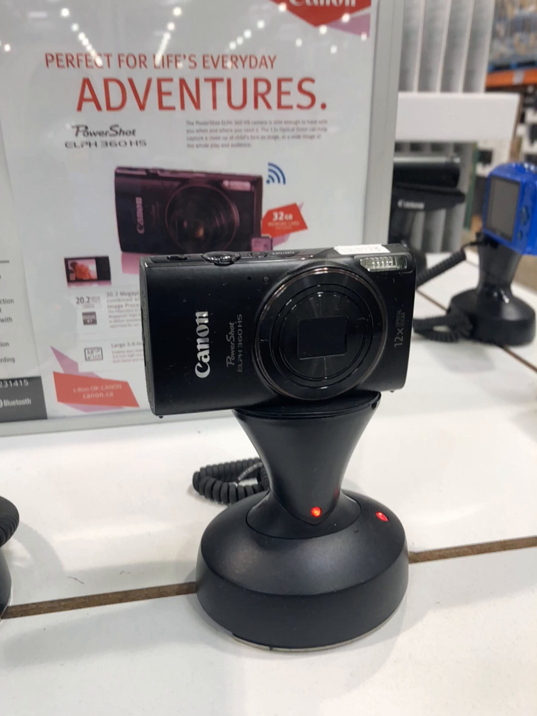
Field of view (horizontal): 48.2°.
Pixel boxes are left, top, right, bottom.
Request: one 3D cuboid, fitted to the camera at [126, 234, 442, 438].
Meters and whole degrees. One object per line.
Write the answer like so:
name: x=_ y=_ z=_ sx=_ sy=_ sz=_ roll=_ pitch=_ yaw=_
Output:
camera: x=0.004 y=-0.012 z=0.233 sx=0.110 sy=0.060 sz=0.040 roll=-5 pitch=22 yaw=-13
